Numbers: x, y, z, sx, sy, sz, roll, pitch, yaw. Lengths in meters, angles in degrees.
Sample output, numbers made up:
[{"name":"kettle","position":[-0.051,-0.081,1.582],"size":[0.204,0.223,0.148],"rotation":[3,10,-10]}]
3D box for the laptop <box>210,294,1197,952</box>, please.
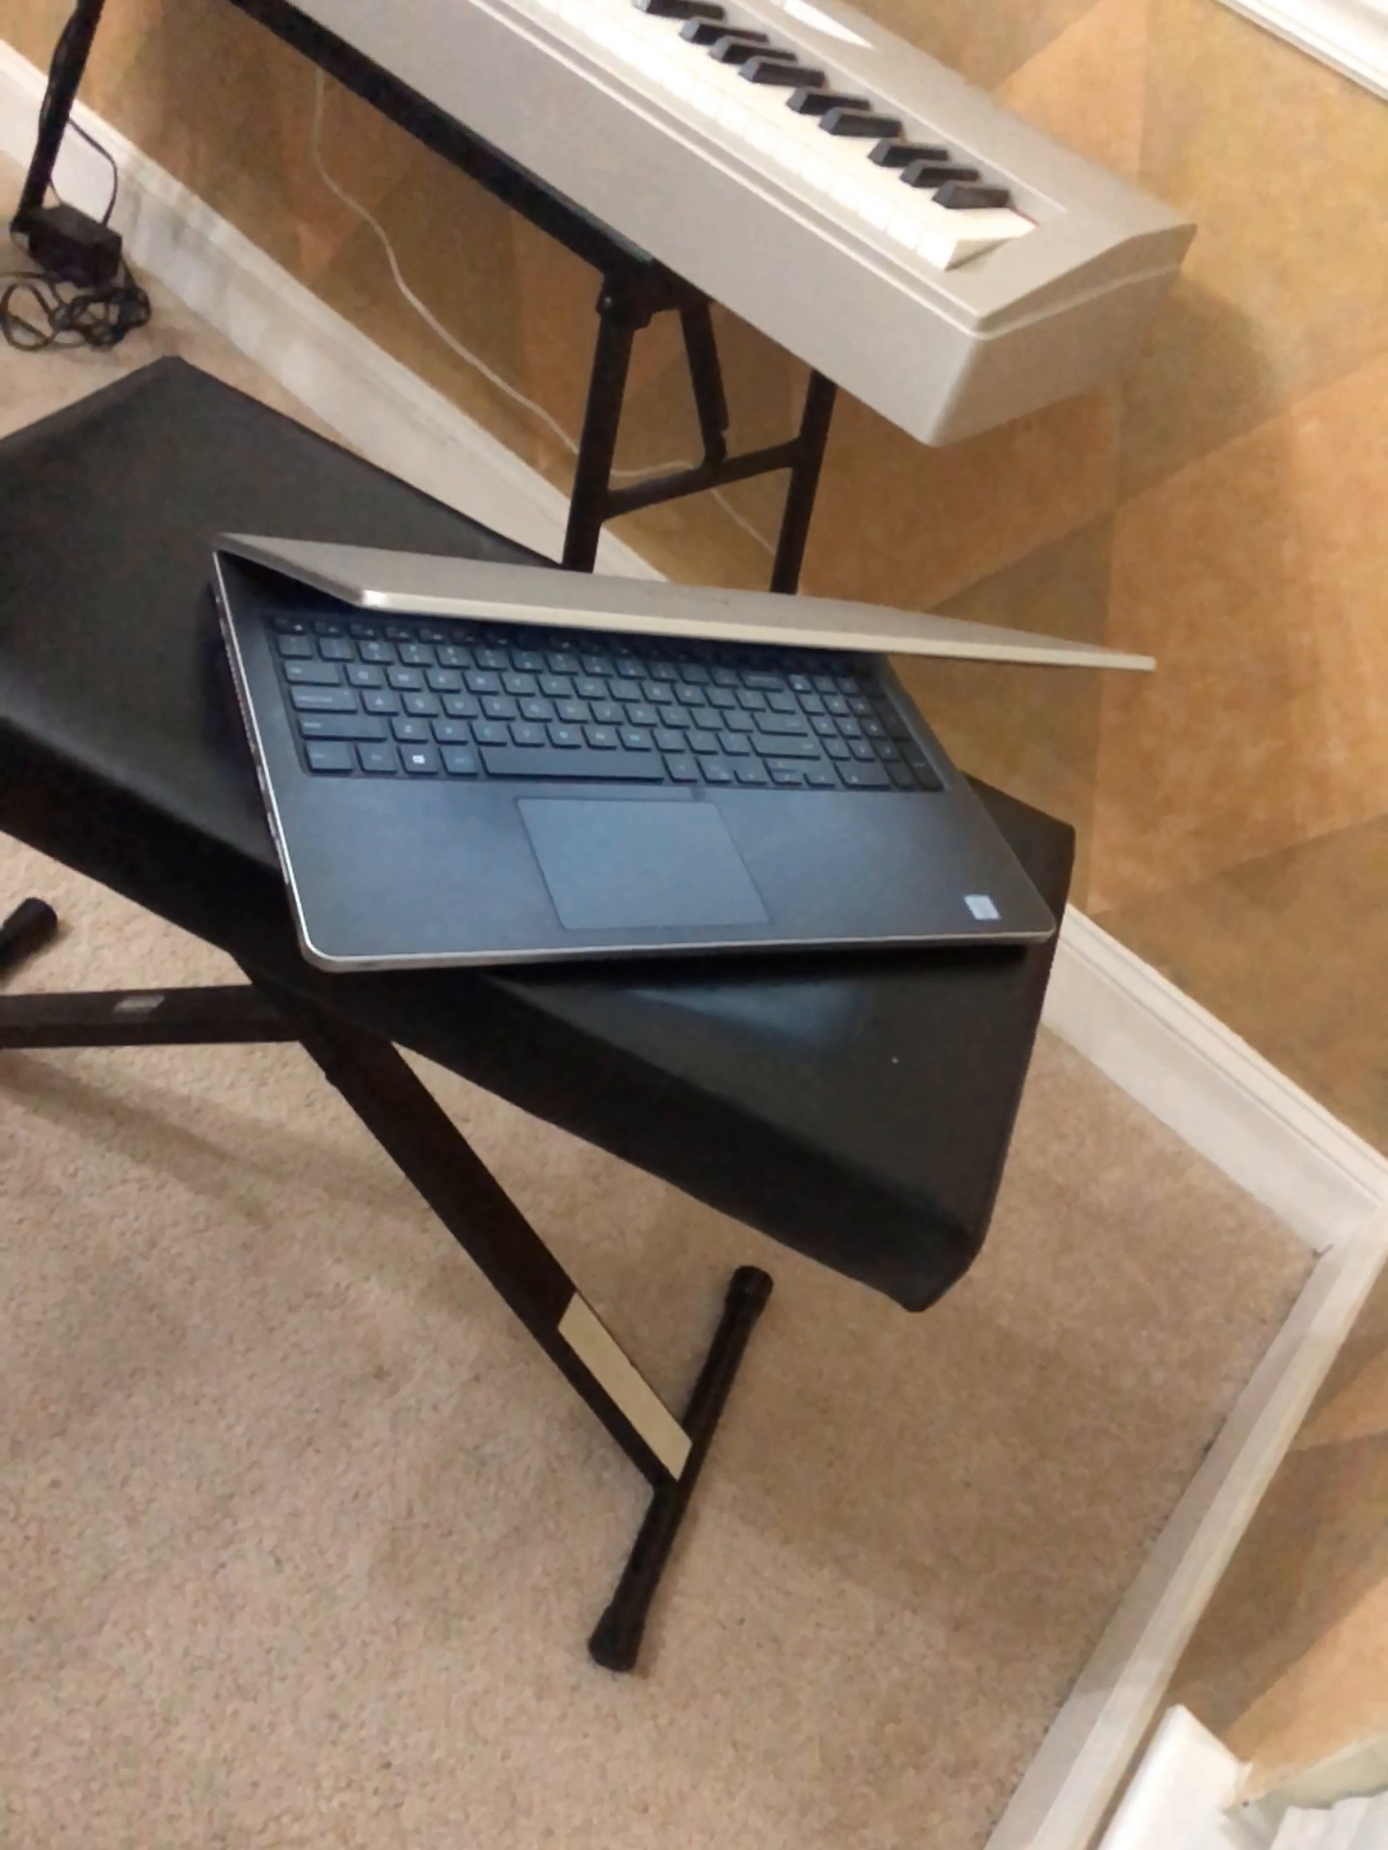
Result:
[{"name":"laptop","position":[-0.004,-0.135,0.717],"size":[0.376,0.132,0.256],"rotation":[-2,50,-29]}]
